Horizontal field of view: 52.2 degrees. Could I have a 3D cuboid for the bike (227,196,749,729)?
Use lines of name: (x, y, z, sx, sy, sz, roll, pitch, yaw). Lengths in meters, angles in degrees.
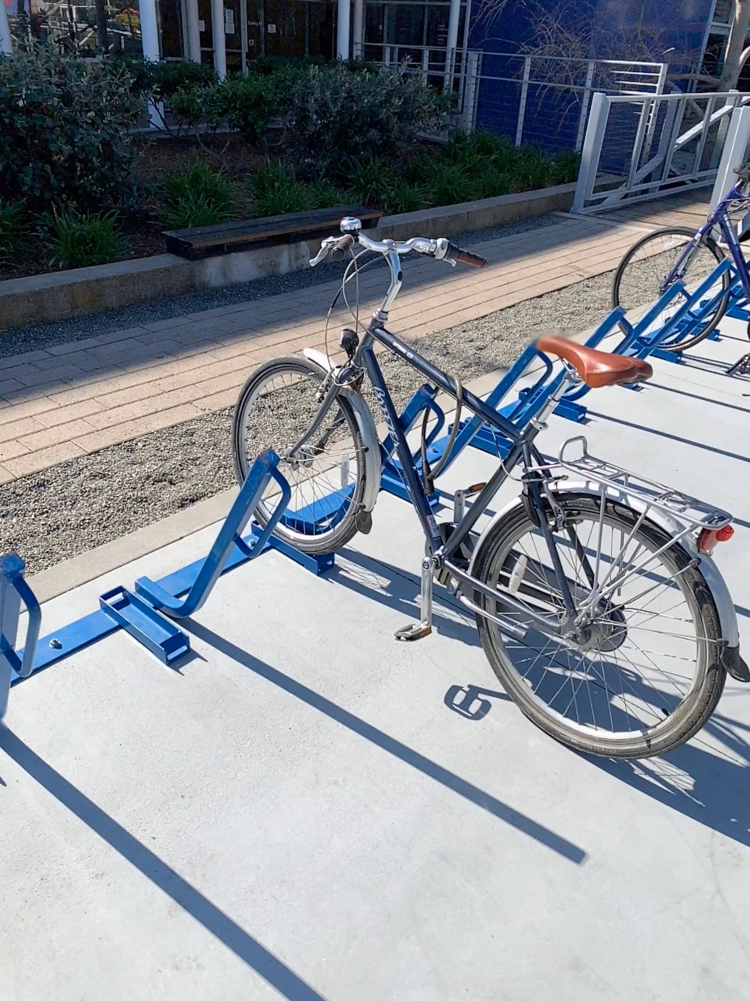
bike: (0.200, -0.185, 1.991, 0.591, 0.915, 1.064, -26, 42, -38)
